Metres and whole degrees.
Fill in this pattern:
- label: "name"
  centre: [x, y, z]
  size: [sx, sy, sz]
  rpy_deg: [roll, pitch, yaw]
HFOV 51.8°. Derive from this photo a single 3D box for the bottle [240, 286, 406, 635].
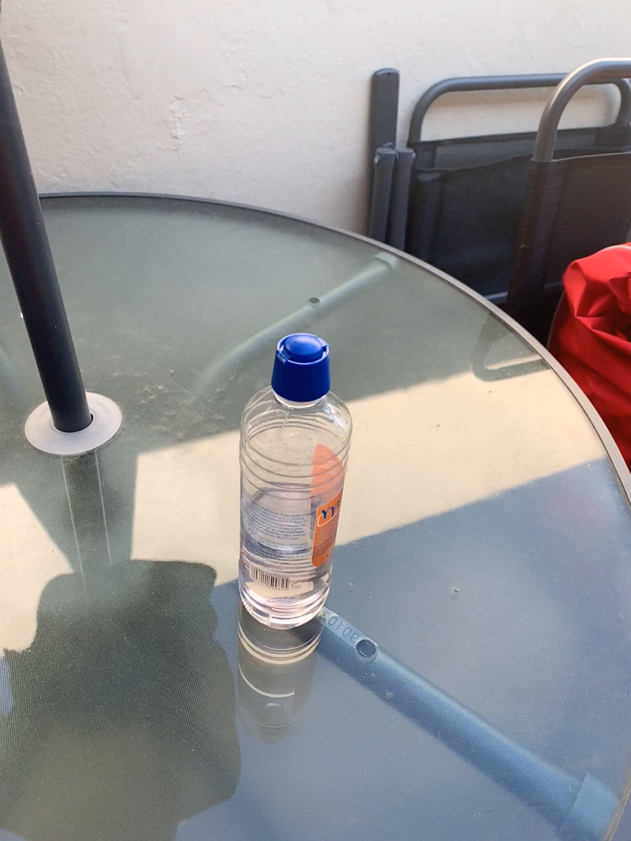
- label: "bottle"
  centre: [0.001, 0.026, 0.306]
  size: [0.060, 0.158, 0.061]
  rpy_deg: [3, 39, -2]
